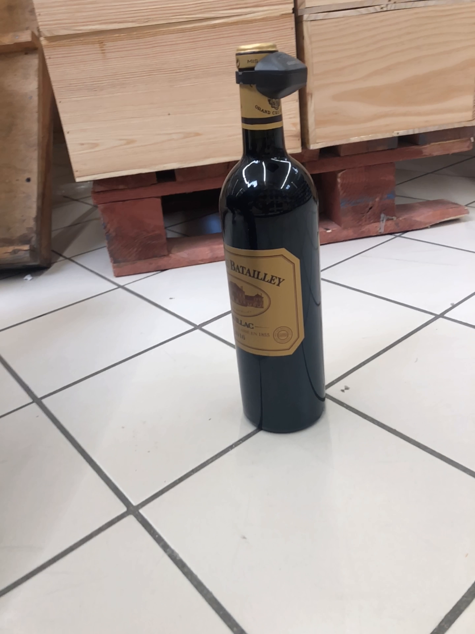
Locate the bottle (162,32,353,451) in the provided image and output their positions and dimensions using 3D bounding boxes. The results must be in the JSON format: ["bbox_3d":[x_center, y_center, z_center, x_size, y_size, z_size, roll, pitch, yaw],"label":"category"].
[{"bbox_3d":[0.024,-0.051,0.407,0.090,0.288,0.090,-5,26,3],"label":"bottle"}]
